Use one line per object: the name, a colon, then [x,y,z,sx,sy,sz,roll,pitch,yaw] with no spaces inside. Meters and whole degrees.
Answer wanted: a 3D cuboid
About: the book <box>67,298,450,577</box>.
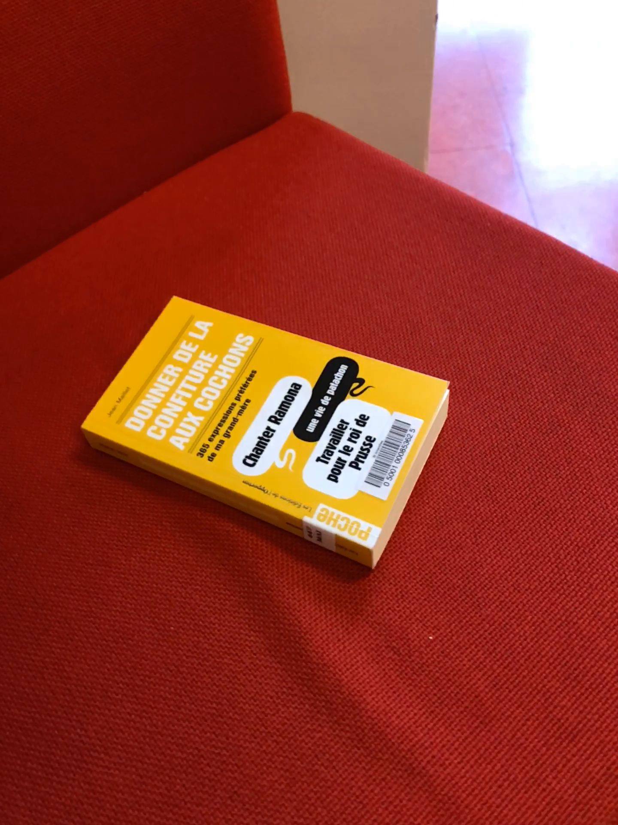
book: [-0.027,0.005,0.380,0.180,0.030,0.107,18,59,21]
